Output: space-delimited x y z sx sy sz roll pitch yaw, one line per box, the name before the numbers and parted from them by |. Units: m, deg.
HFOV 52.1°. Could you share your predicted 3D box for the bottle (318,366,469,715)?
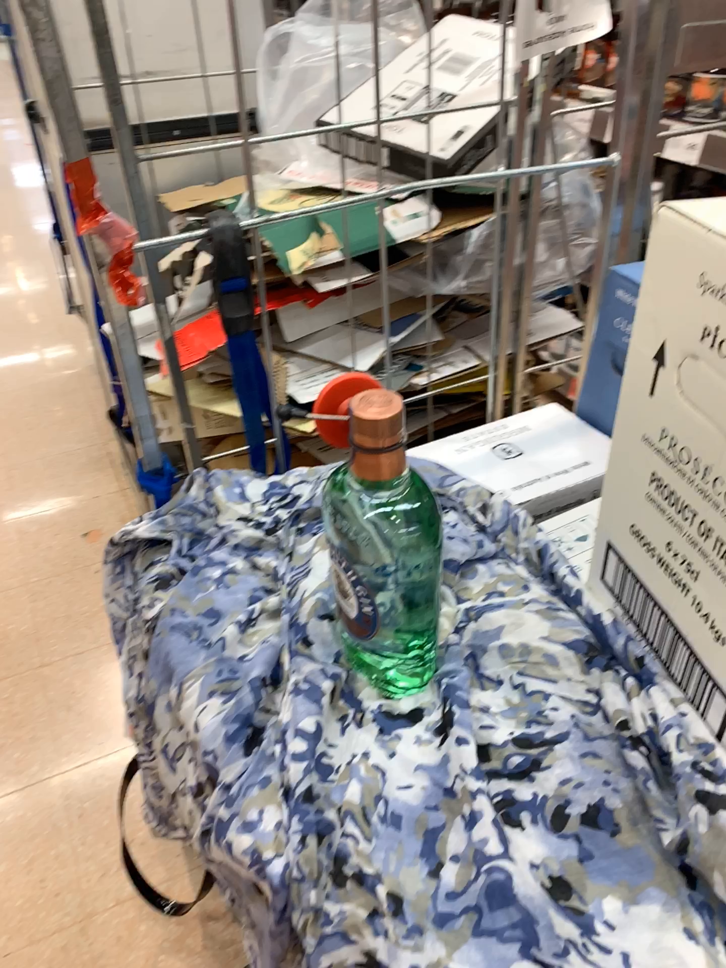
bottle | 0.019 0.045 0.527 0.057 0.228 0.095 -16 38 -20
